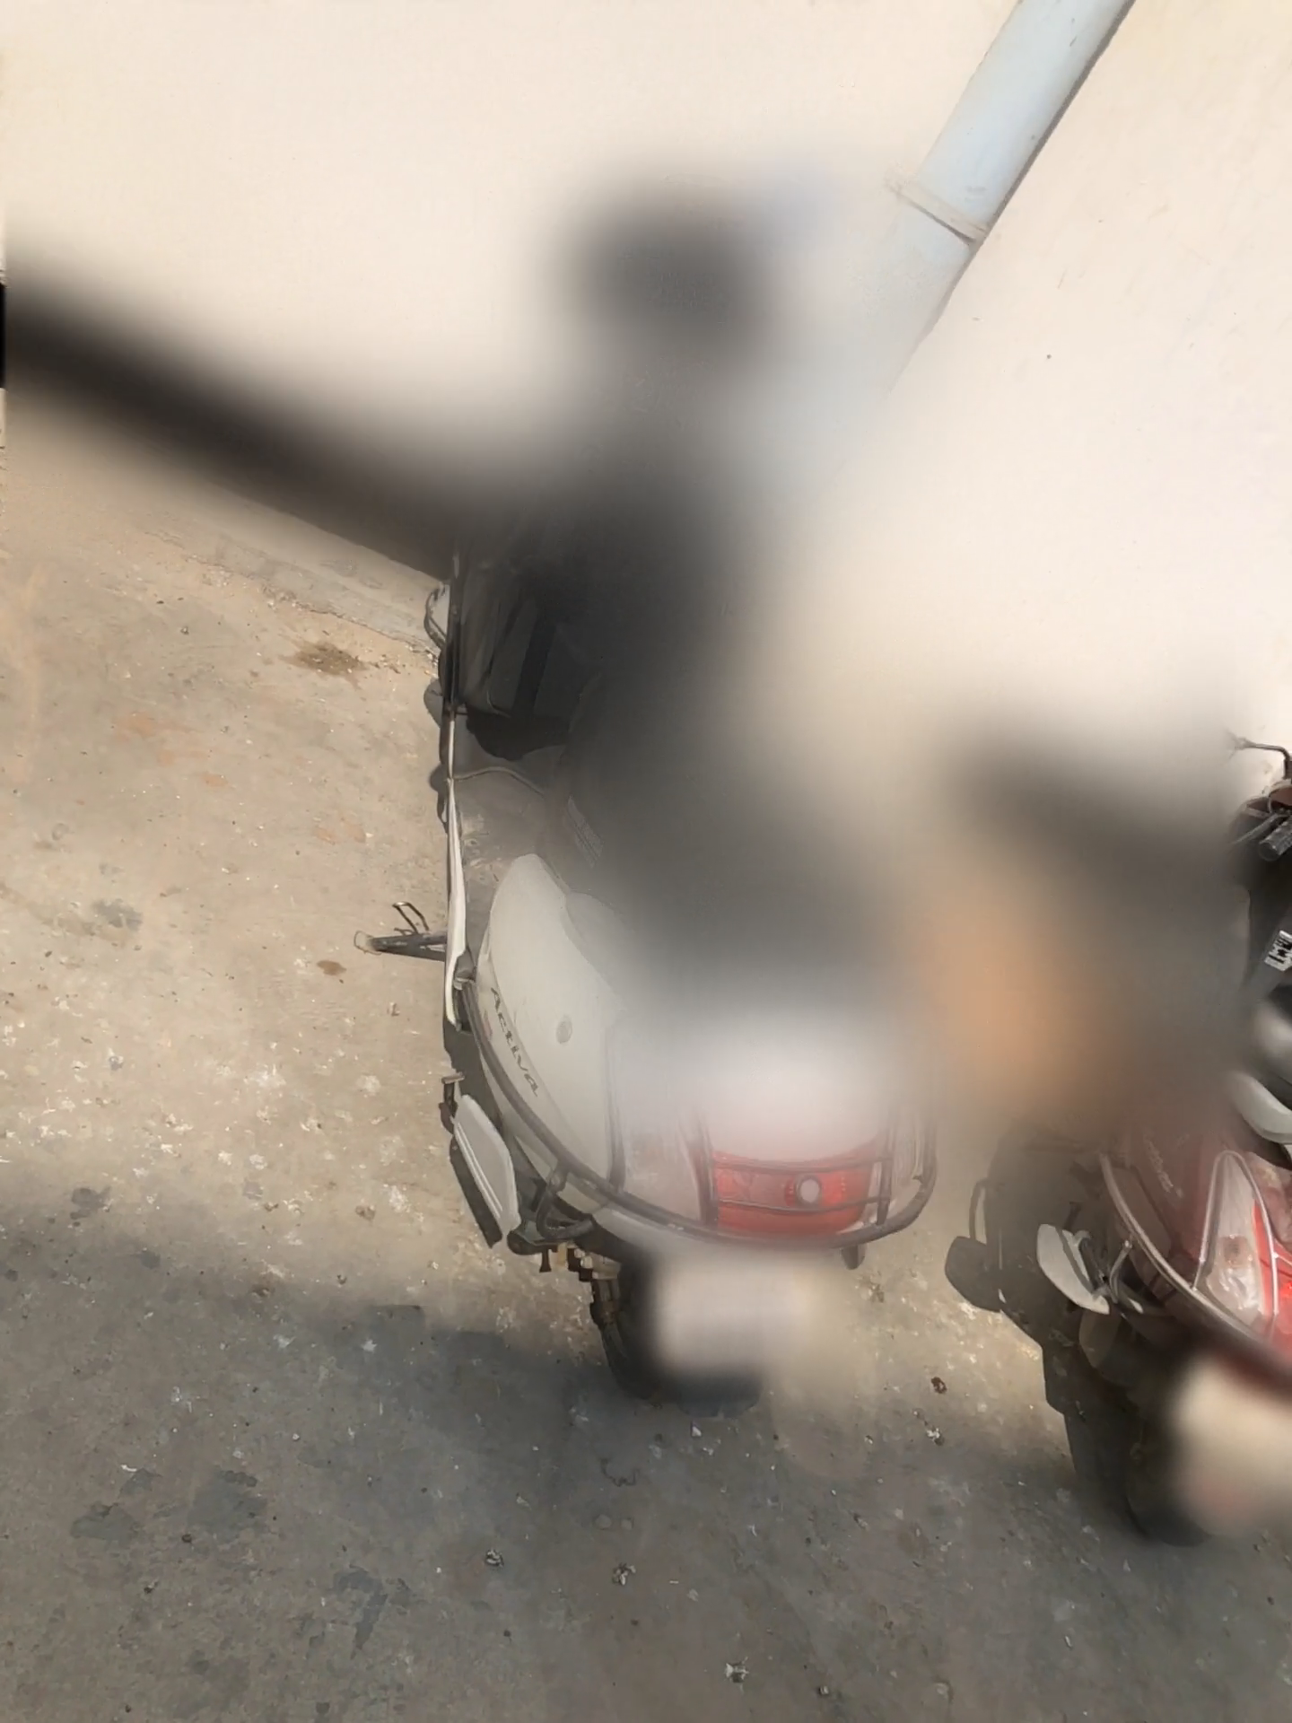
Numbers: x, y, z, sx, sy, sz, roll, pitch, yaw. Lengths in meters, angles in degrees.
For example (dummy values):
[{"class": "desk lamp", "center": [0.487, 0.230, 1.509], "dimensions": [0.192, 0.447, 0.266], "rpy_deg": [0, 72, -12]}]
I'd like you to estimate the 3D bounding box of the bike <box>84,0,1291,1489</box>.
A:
[{"class": "bike", "center": [-0.133, -0.157, 1.795], "dimensions": [0.626, 1.122, 1.303], "rpy_deg": [8, 41, -37]}]
